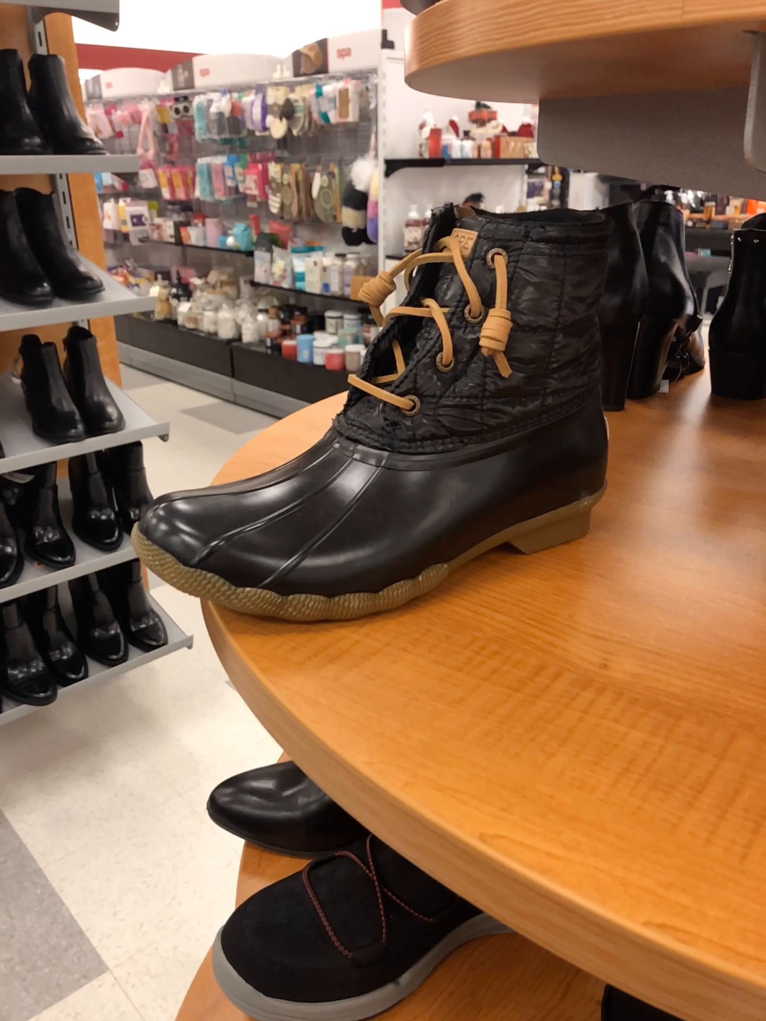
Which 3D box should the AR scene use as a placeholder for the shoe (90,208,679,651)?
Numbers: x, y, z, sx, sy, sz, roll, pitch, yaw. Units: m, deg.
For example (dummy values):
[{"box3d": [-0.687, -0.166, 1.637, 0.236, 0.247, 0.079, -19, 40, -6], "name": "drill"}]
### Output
[{"box3d": [0.001, -0.055, 0.392, 0.231, 0.157, 0.113, -10, 22, -23], "name": "shoe"}]
